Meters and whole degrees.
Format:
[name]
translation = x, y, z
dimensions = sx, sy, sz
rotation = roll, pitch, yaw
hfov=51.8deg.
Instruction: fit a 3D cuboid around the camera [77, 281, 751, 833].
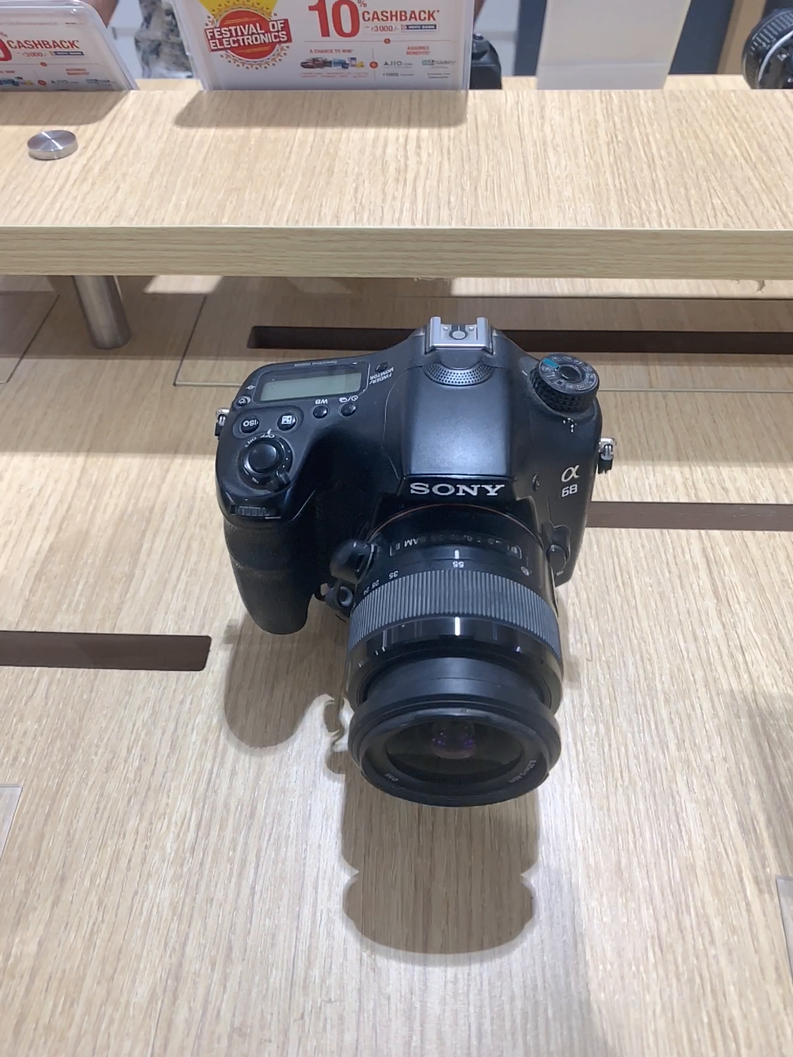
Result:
[camera]
translation = 0.006, 0.004, 0.269
dimensions = 0.150, 0.100, 0.150
rotation = 1, 48, 2
